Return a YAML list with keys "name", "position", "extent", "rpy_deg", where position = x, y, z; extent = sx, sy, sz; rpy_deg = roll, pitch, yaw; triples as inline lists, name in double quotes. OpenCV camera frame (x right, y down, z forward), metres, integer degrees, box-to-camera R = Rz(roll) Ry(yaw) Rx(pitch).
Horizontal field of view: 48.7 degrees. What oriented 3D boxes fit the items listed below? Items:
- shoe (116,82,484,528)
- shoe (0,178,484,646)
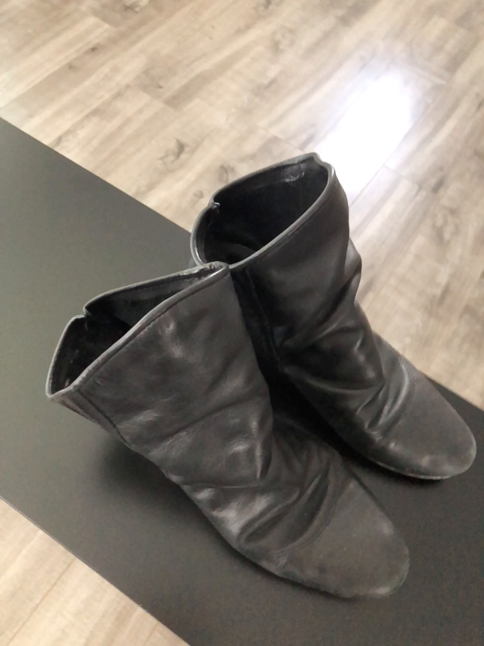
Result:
- name: "shoe"
  position: [0.062, 0.000, 0.348]
  extent: [0.260, 0.170, 0.101]
  rpy_deg: [32, 63, 10]
- name: "shoe"
  position: [0.007, 0.067, 0.303]
  extent: [0.250, 0.170, 0.101]
  rpy_deg: [32, 63, 10]
